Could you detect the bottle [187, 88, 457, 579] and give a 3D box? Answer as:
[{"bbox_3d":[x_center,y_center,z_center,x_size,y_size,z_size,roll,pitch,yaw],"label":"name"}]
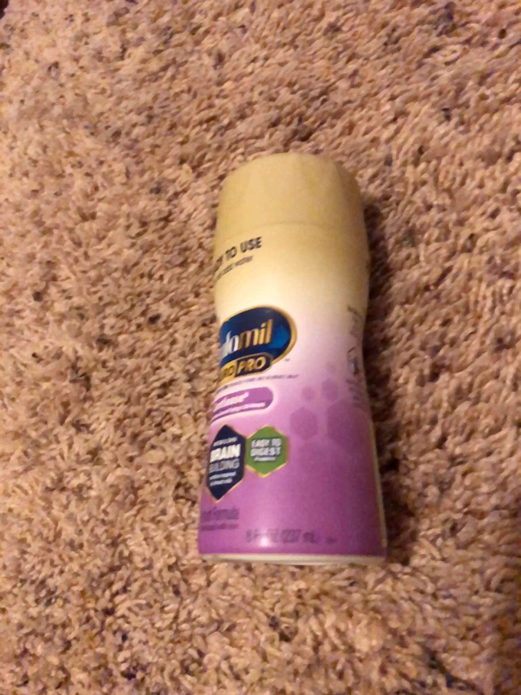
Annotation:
[{"bbox_3d":[0.016,-0.001,0.202,0.060,0.060,0.150,140,135,-61],"label":"bottle"}]
